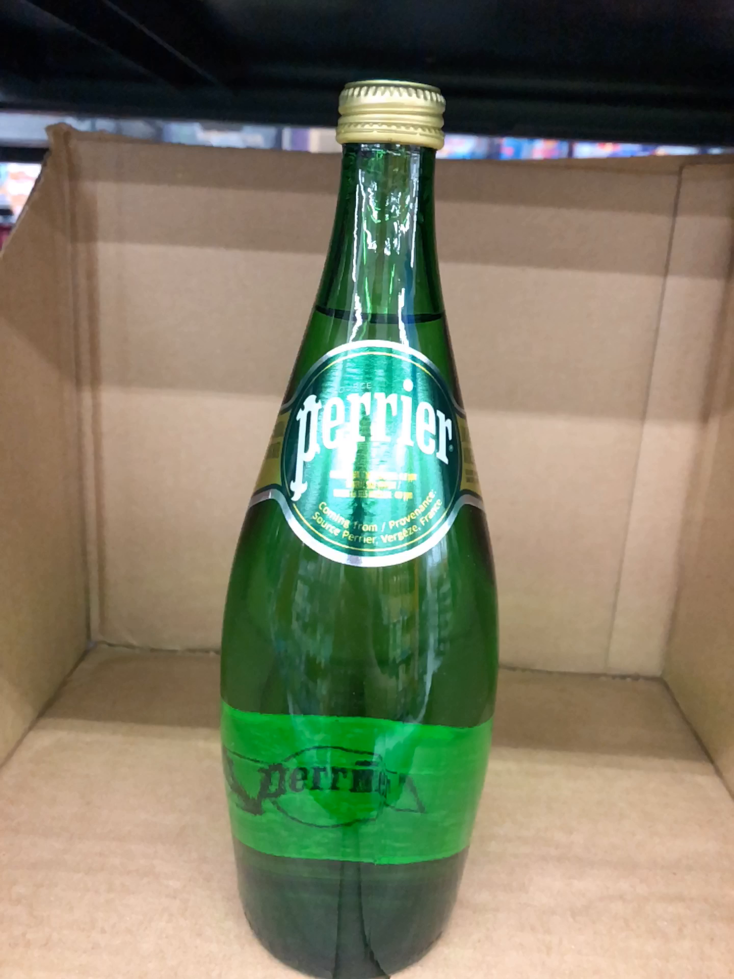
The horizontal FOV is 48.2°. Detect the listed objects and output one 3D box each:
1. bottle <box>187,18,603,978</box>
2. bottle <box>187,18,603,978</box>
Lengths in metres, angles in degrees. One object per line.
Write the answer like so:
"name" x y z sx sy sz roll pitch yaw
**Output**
"bottle" 0.001 0.016 0.255 0.090 0.269 0.080 3 17 2
"bottle" 0.001 0.016 0.255 0.090 0.269 0.080 3 17 2
